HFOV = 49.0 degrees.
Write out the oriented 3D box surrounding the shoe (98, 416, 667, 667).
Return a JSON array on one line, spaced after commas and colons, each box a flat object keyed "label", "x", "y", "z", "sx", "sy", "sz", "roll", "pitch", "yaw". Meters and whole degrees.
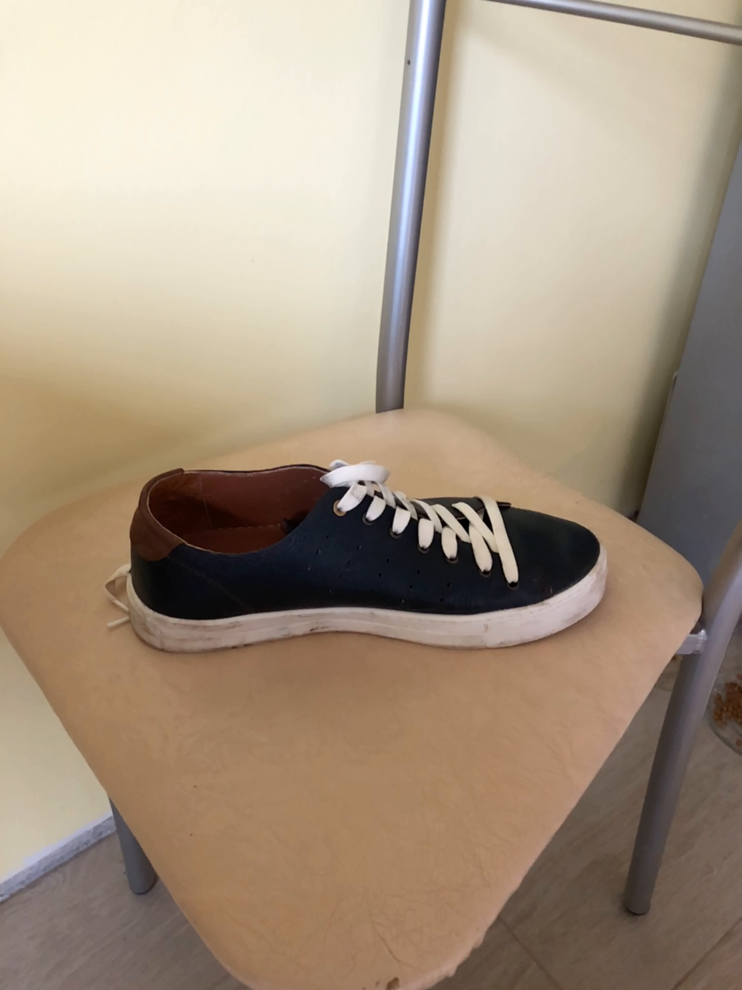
[{"label": "shoe", "x": 0.005, "y": 0.024, "z": 0.485, "sx": 0.290, "sy": 0.089, "sz": 0.111, "roll": -2, "pitch": 39, "yaw": -3}]
